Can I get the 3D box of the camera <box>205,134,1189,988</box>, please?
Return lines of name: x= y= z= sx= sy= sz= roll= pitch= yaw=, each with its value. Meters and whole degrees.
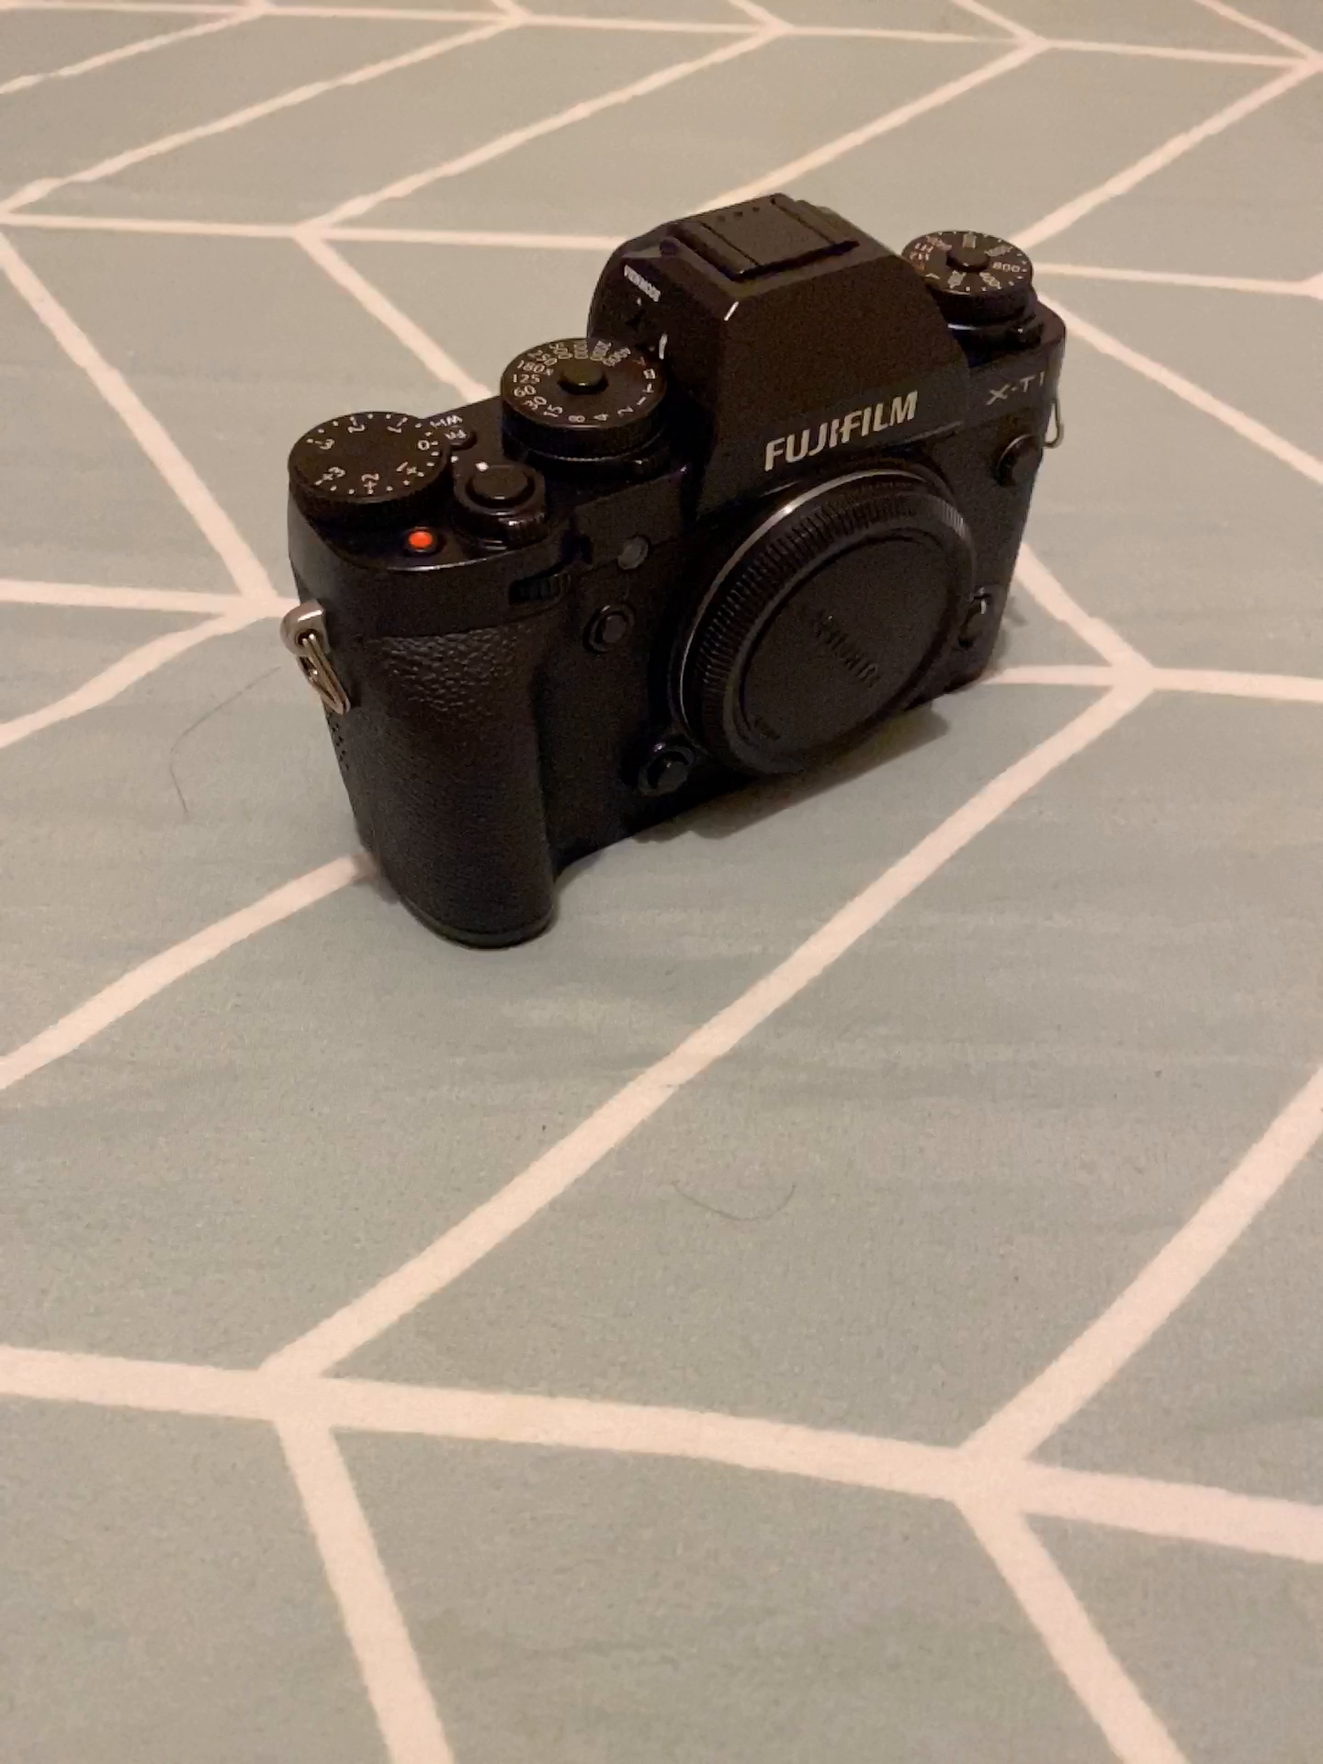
camera: x=0.008 y=-0.053 z=0.225 sx=0.130 sy=0.087 sz=0.052 roll=-25 pitch=55 yaw=-20
